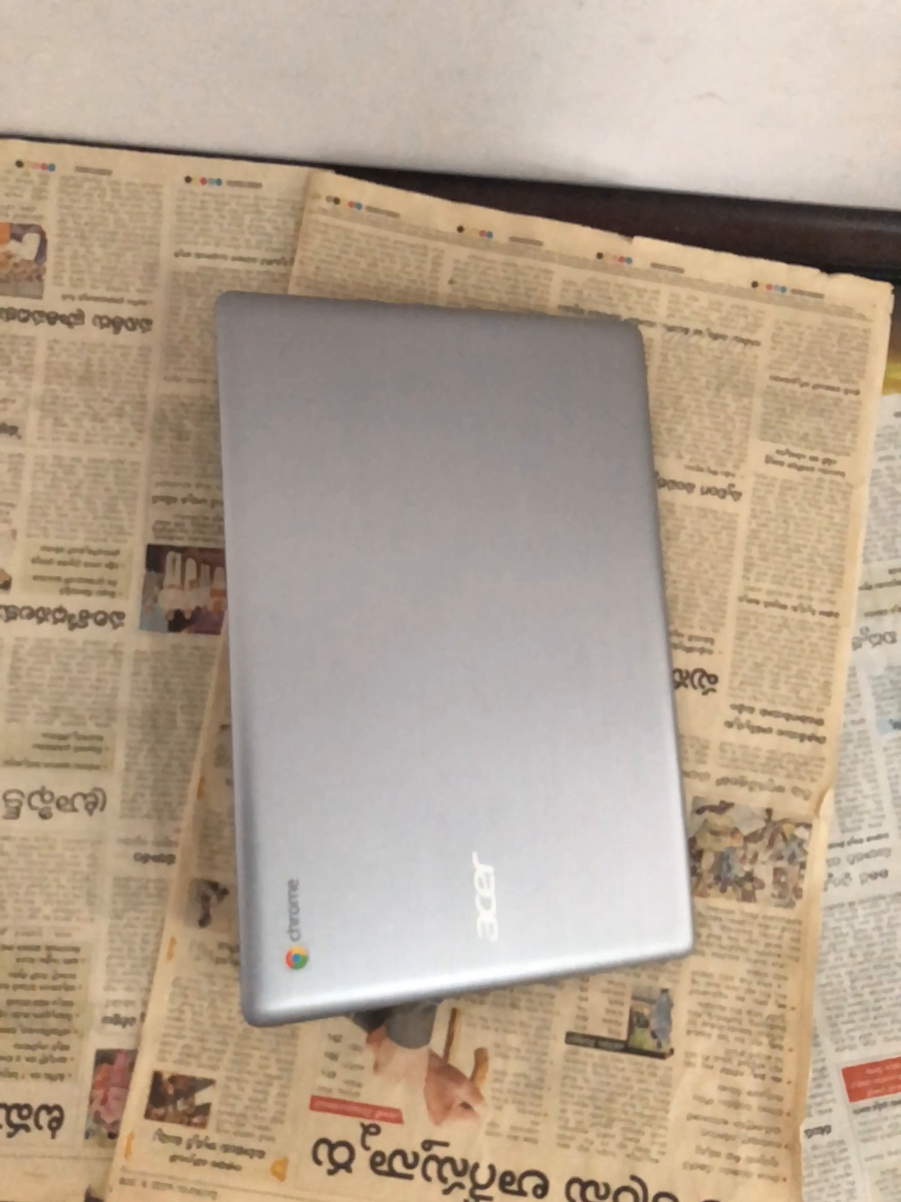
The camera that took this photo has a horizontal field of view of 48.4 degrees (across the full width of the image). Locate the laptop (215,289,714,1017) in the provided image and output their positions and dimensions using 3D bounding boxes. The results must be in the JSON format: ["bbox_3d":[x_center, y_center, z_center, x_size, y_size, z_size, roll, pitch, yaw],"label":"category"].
[{"bbox_3d":[0.001,0.017,0.491,0.210,0.058,0.330,-3,82,-4],"label":"laptop"}]
